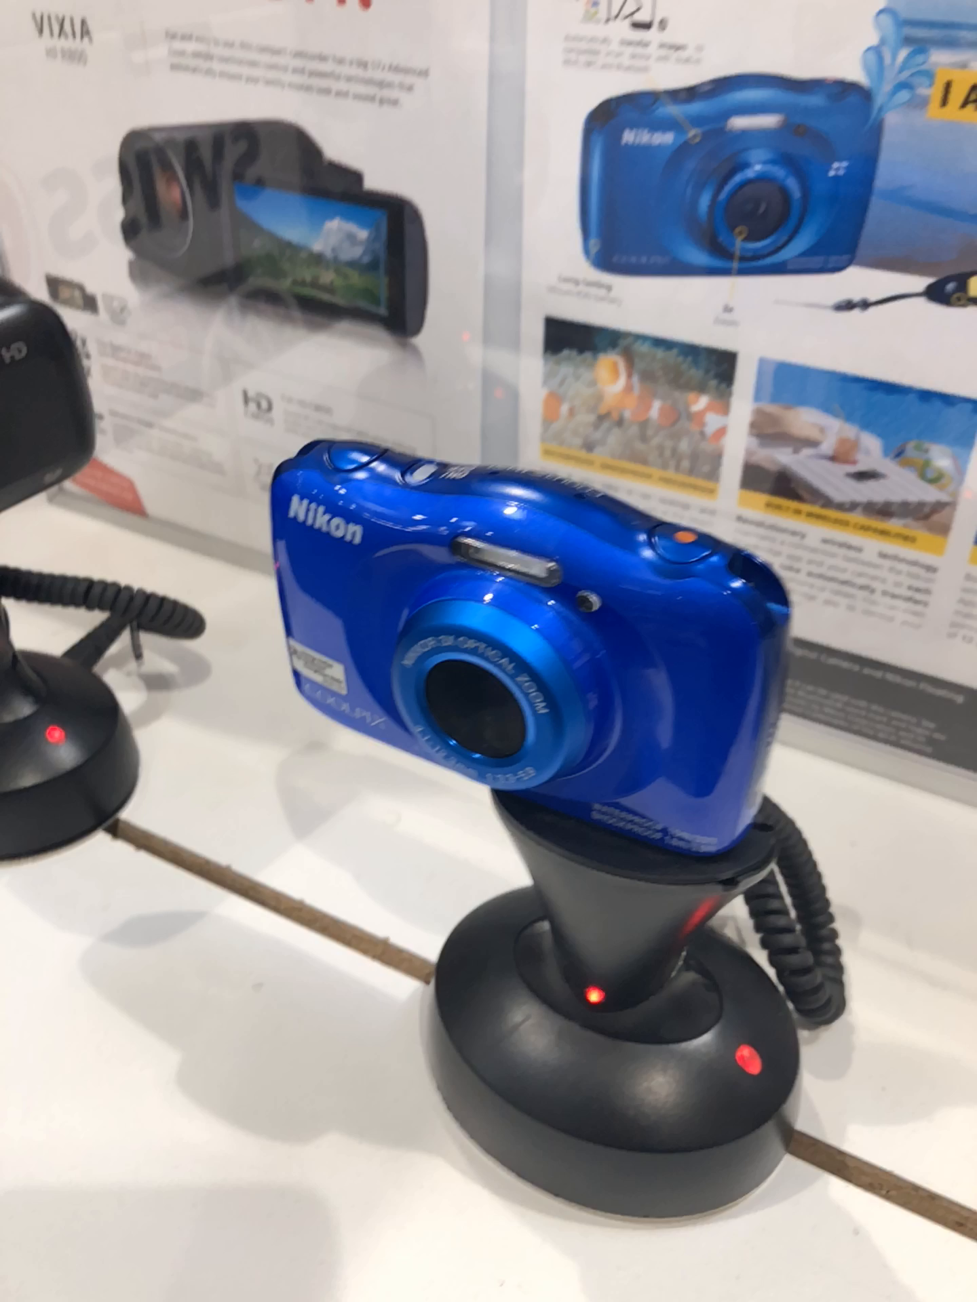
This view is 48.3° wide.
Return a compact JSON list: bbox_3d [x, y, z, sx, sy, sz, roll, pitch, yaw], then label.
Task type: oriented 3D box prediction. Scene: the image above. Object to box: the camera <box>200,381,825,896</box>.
[{"bbox_3d":[0.003,-0.006,0.205,0.100,0.060,0.040,17,40,21],"label":"camera"}]
